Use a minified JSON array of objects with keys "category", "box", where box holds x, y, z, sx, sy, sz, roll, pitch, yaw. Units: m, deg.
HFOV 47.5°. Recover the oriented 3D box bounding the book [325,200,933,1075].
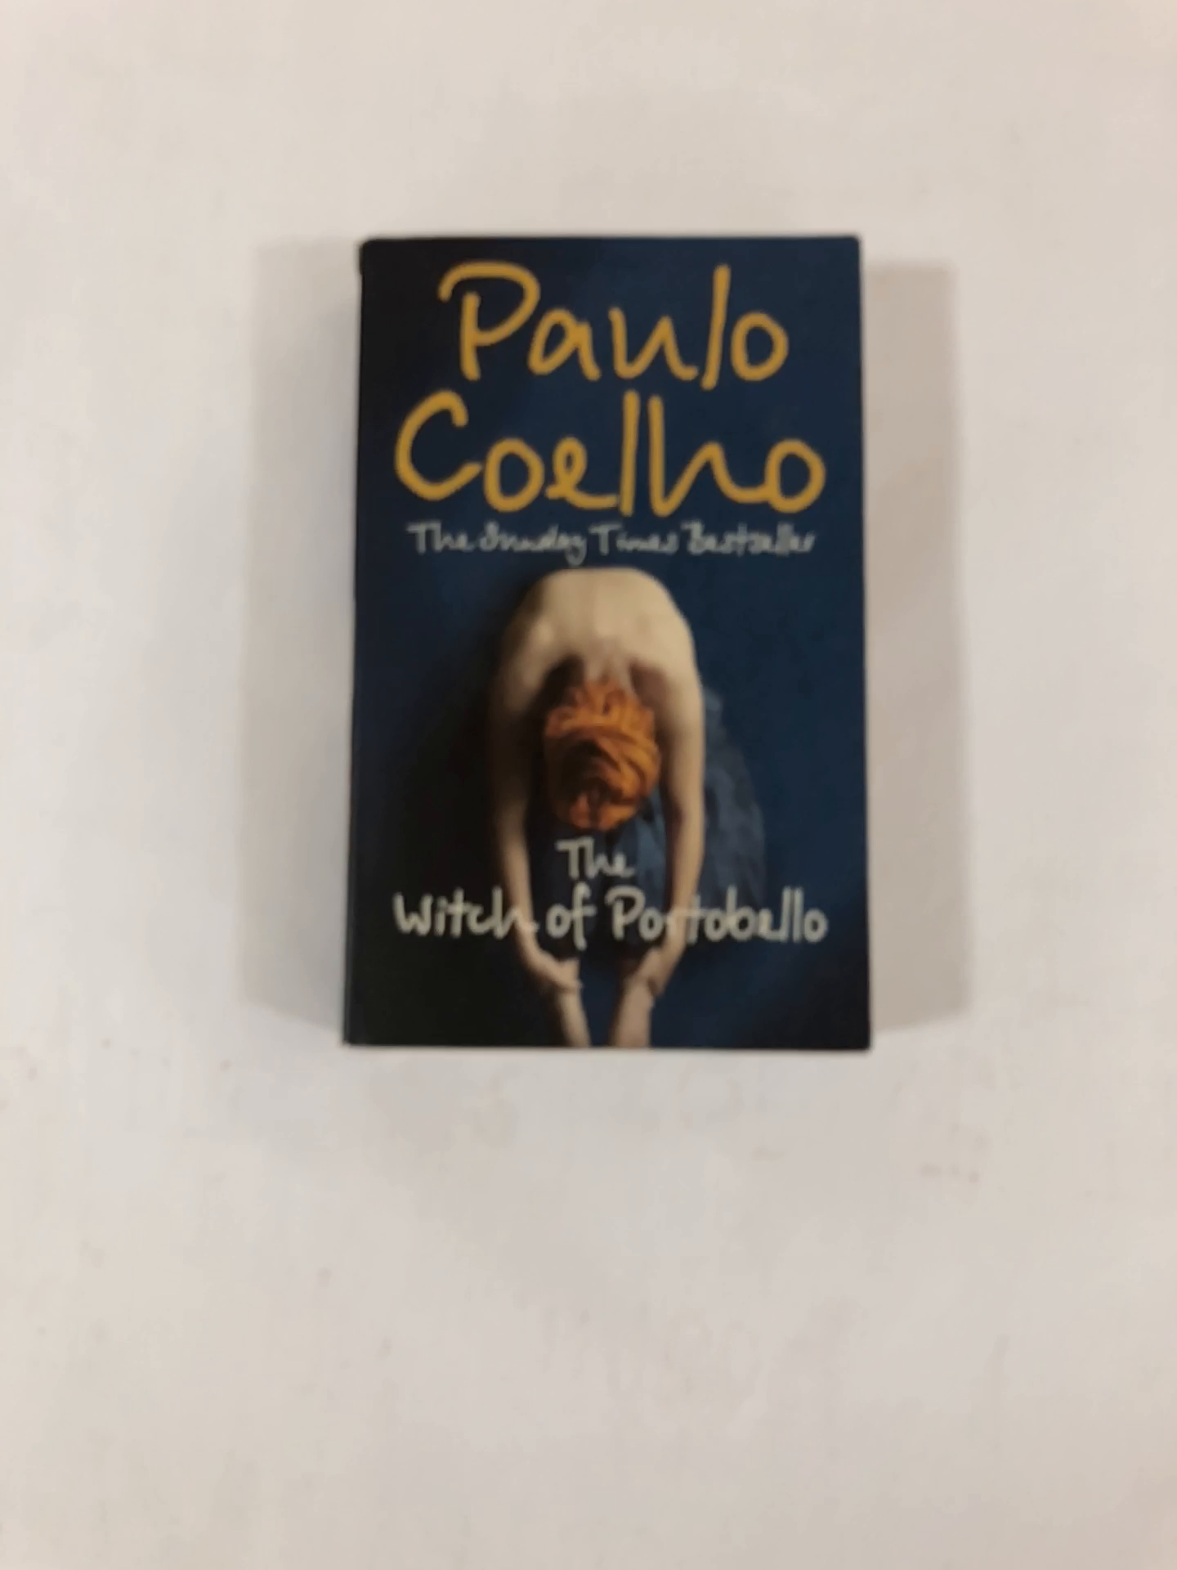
[{"category":"book","box":[0.009,-0.031,0.287,0.120,0.030,0.180,0,85,0]}]
